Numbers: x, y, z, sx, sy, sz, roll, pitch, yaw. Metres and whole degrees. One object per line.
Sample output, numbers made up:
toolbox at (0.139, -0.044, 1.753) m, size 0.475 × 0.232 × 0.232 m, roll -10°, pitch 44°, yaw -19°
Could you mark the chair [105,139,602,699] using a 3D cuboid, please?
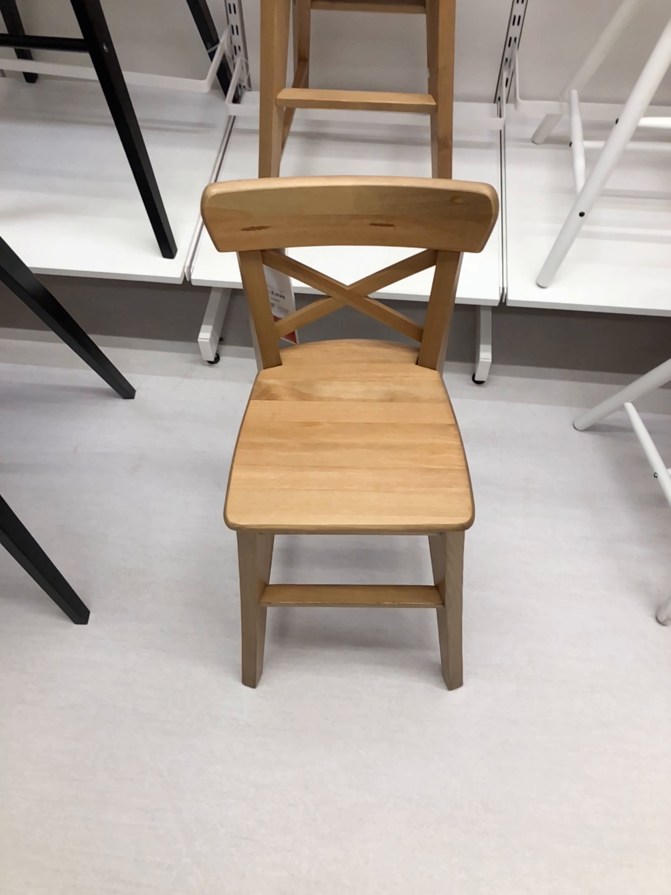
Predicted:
chair at (0.026, 0.025, 0.979) m, size 0.390 × 0.676 × 0.432 m, roll 1°, pitch 58°, yaw 2°
